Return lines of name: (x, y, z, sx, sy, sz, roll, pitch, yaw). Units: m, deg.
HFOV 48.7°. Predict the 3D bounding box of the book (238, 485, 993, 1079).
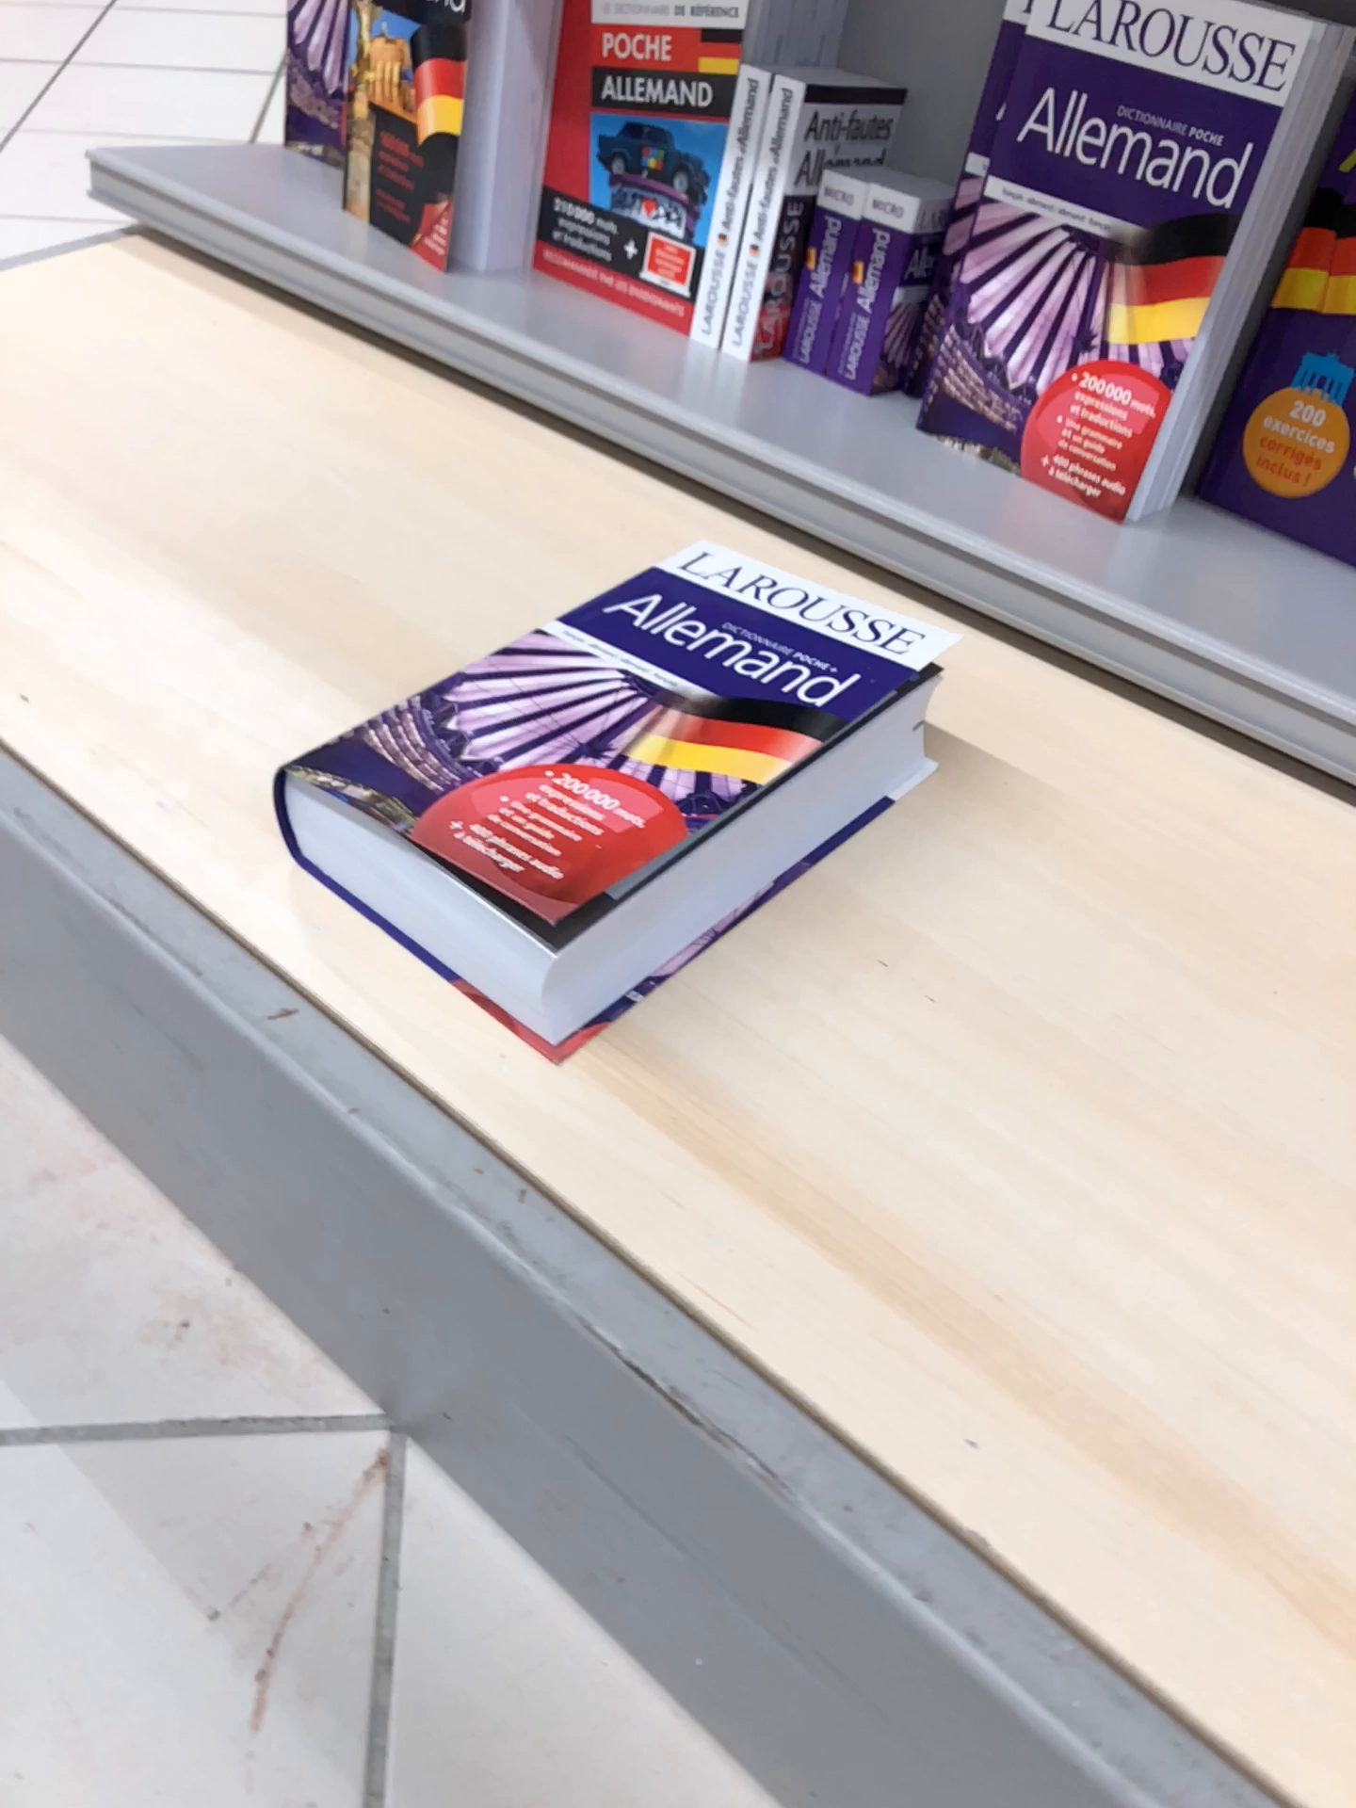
book: (-0.013, -0.048, 0.439, 0.120, 0.050, 0.182, 34, 51, 28)
